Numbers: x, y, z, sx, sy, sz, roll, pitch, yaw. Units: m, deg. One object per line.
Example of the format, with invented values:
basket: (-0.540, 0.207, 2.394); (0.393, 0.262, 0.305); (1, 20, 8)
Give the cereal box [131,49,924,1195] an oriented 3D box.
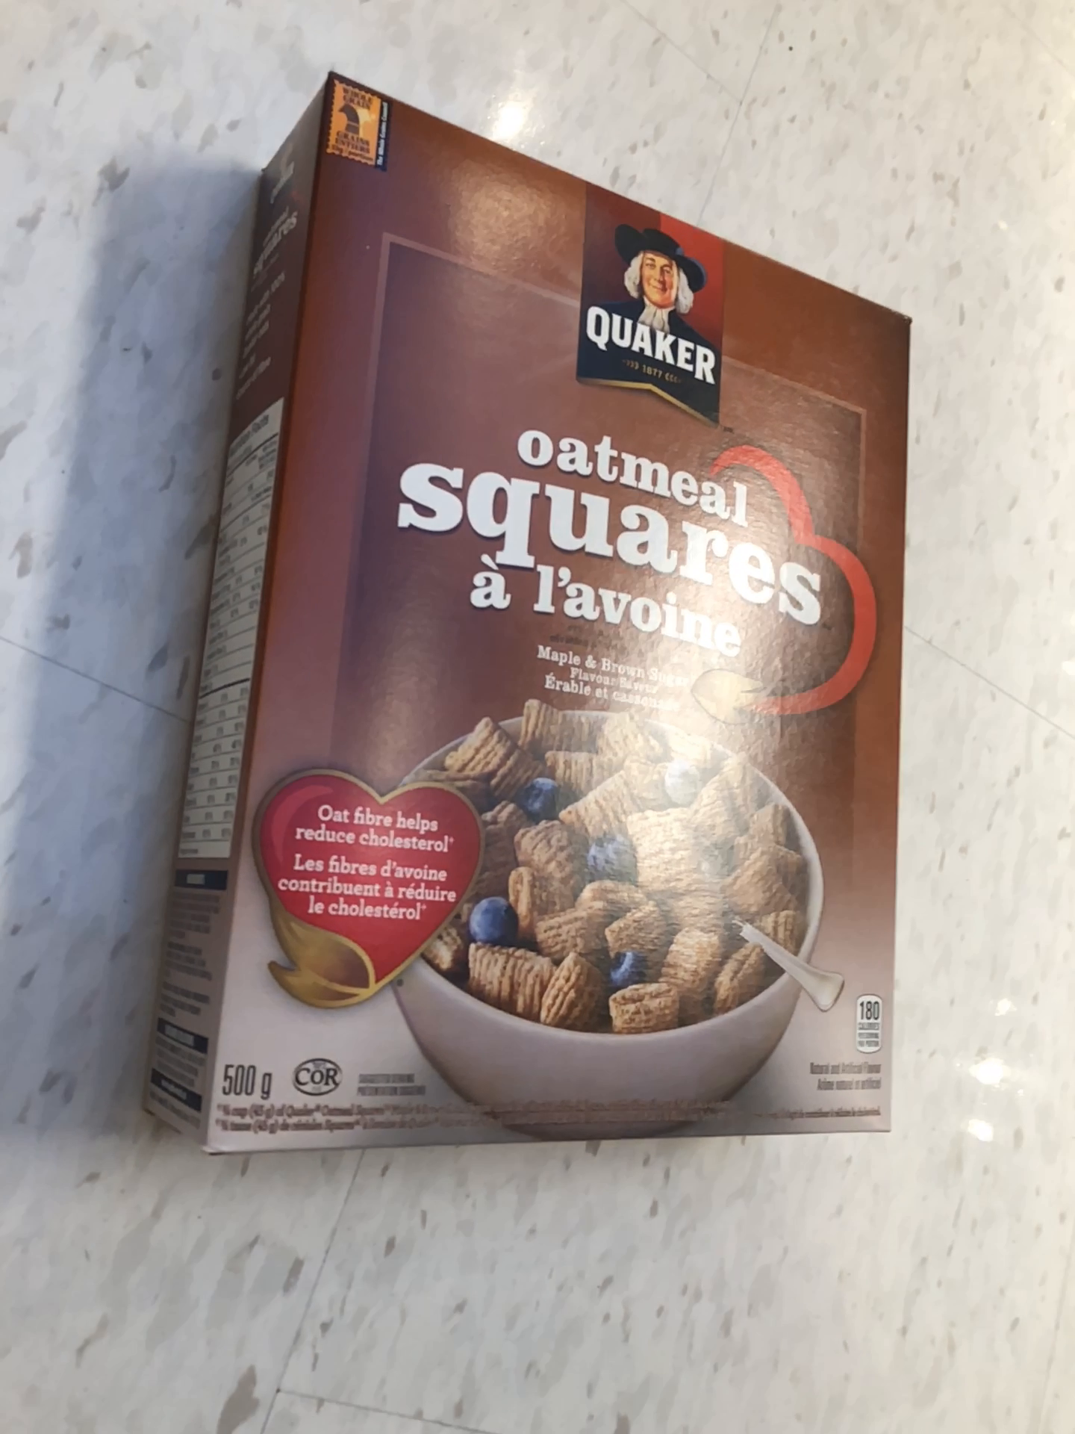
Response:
cereal box: (0.012, -0.014, 0.351); (0.210, 0.070, 0.270); (9, 79, -29)
